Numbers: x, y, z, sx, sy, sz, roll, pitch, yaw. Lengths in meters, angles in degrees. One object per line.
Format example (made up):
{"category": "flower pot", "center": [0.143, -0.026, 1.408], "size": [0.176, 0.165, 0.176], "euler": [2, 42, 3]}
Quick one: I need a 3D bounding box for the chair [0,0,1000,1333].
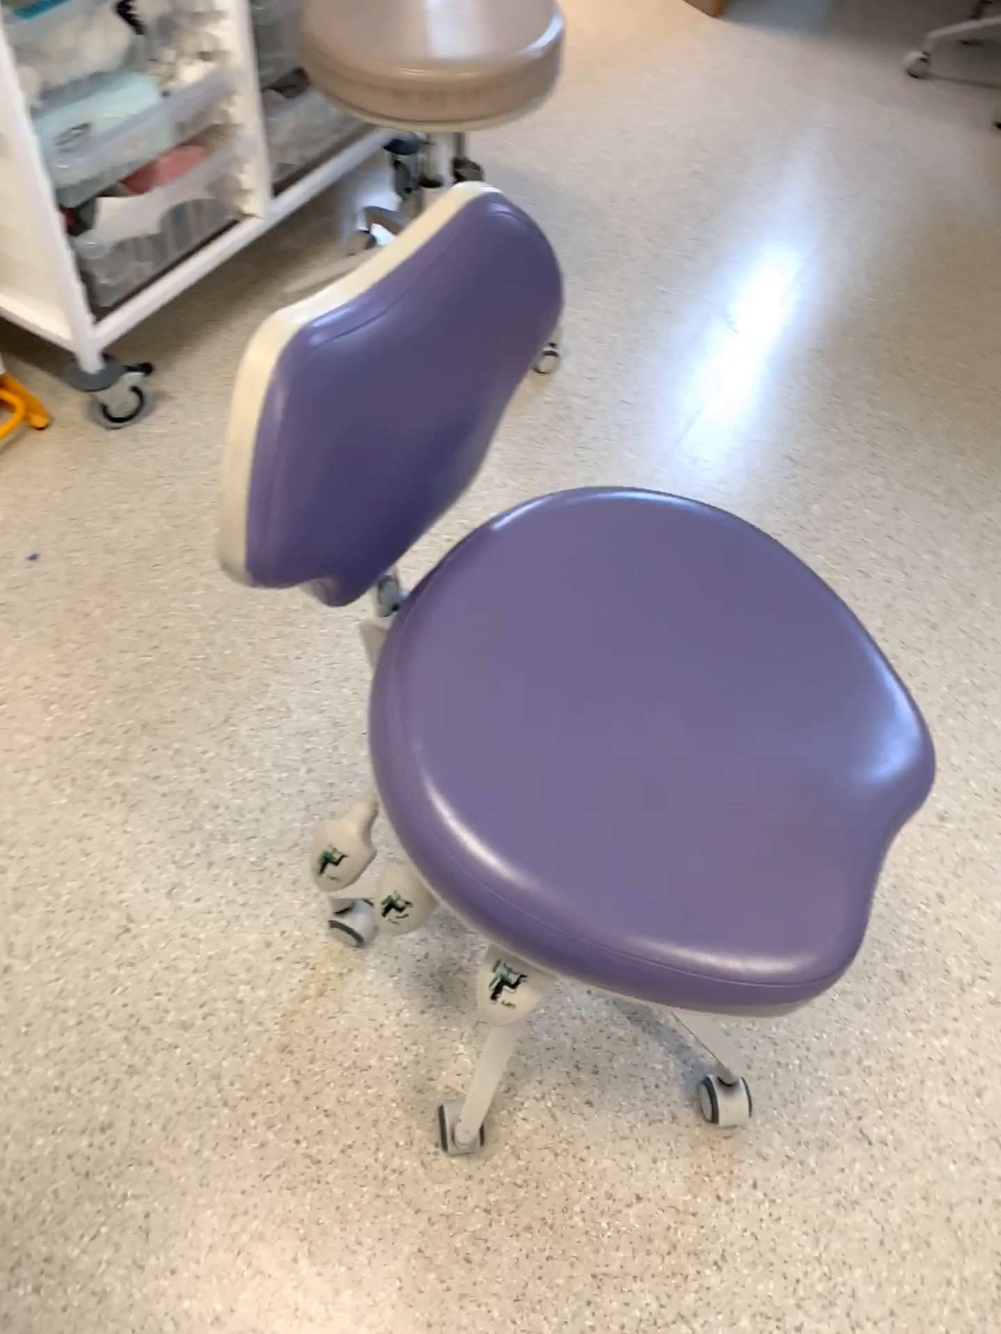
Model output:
{"category": "chair", "center": [0.105, 0.067, 0.845], "size": [0.651, 0.823, 0.604], "euler": [29, 58, 15]}
